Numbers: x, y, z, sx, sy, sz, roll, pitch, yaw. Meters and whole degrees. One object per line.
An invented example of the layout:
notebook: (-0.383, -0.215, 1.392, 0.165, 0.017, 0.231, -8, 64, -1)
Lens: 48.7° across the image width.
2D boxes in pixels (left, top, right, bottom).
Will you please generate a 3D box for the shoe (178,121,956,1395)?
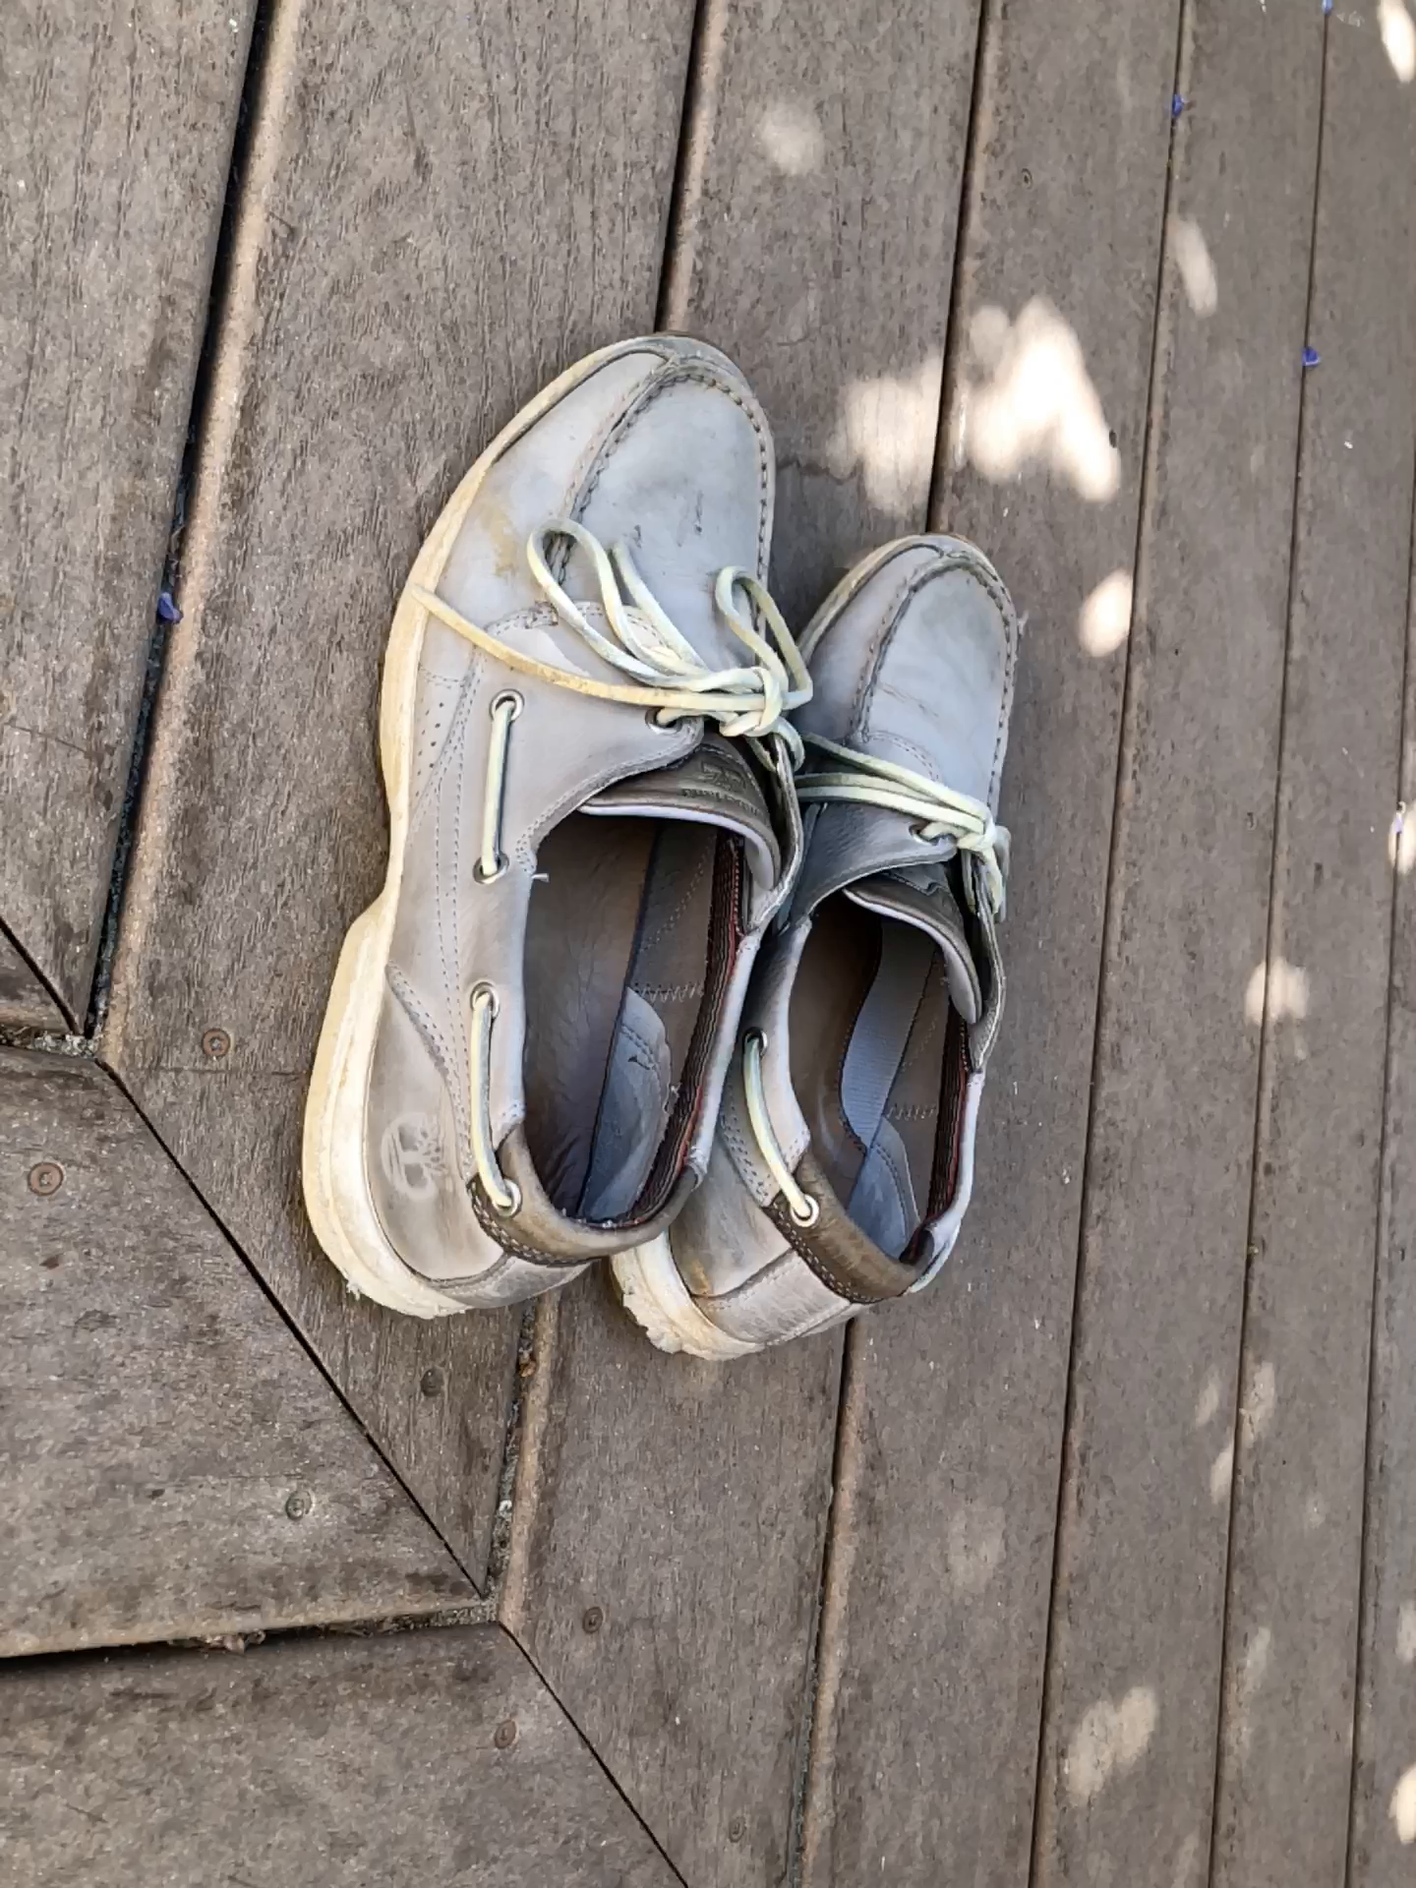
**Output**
shoe: (-0.029, -0.046, 0.441, 0.120, 0.095, 0.310, 25, 71, -40)

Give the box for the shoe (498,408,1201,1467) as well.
shoe: (0.060, -0.006, 0.524, 0.122, 0.097, 0.312, 36, 64, -36)
